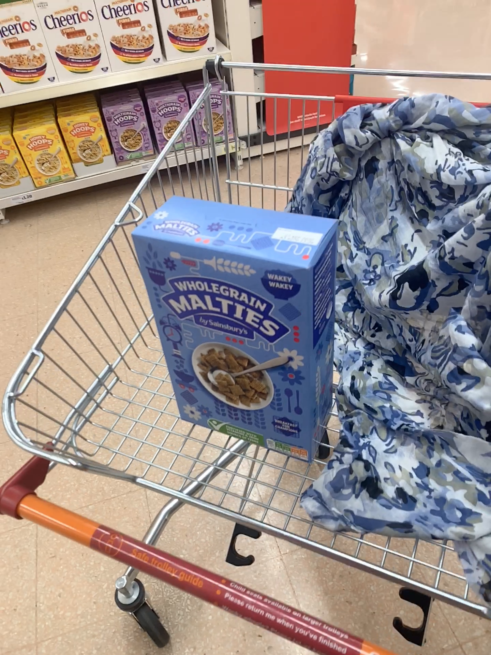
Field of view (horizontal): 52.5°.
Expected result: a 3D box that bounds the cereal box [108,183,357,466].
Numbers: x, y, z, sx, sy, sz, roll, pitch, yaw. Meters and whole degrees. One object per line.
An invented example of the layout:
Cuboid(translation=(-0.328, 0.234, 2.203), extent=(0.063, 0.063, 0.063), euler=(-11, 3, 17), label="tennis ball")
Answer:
Cuboid(translation=(-0.005, 0.004, 0.567), extent=(0.220, 0.287, 0.091), euler=(14, 44, 20), label="cereal box")
